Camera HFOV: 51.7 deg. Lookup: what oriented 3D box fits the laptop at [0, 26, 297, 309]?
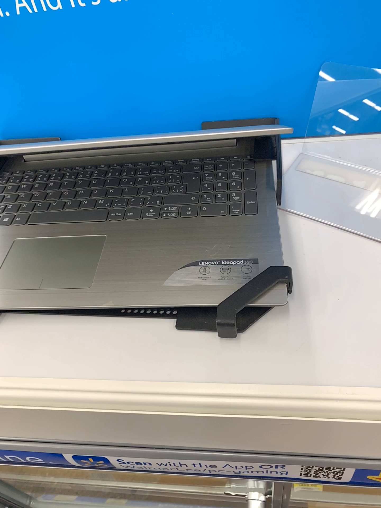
[{"bbox_3d":[-0.091,-0.079,0.342,0.324,0.110,0.220,-2,48,8],"label":"laptop"}]
